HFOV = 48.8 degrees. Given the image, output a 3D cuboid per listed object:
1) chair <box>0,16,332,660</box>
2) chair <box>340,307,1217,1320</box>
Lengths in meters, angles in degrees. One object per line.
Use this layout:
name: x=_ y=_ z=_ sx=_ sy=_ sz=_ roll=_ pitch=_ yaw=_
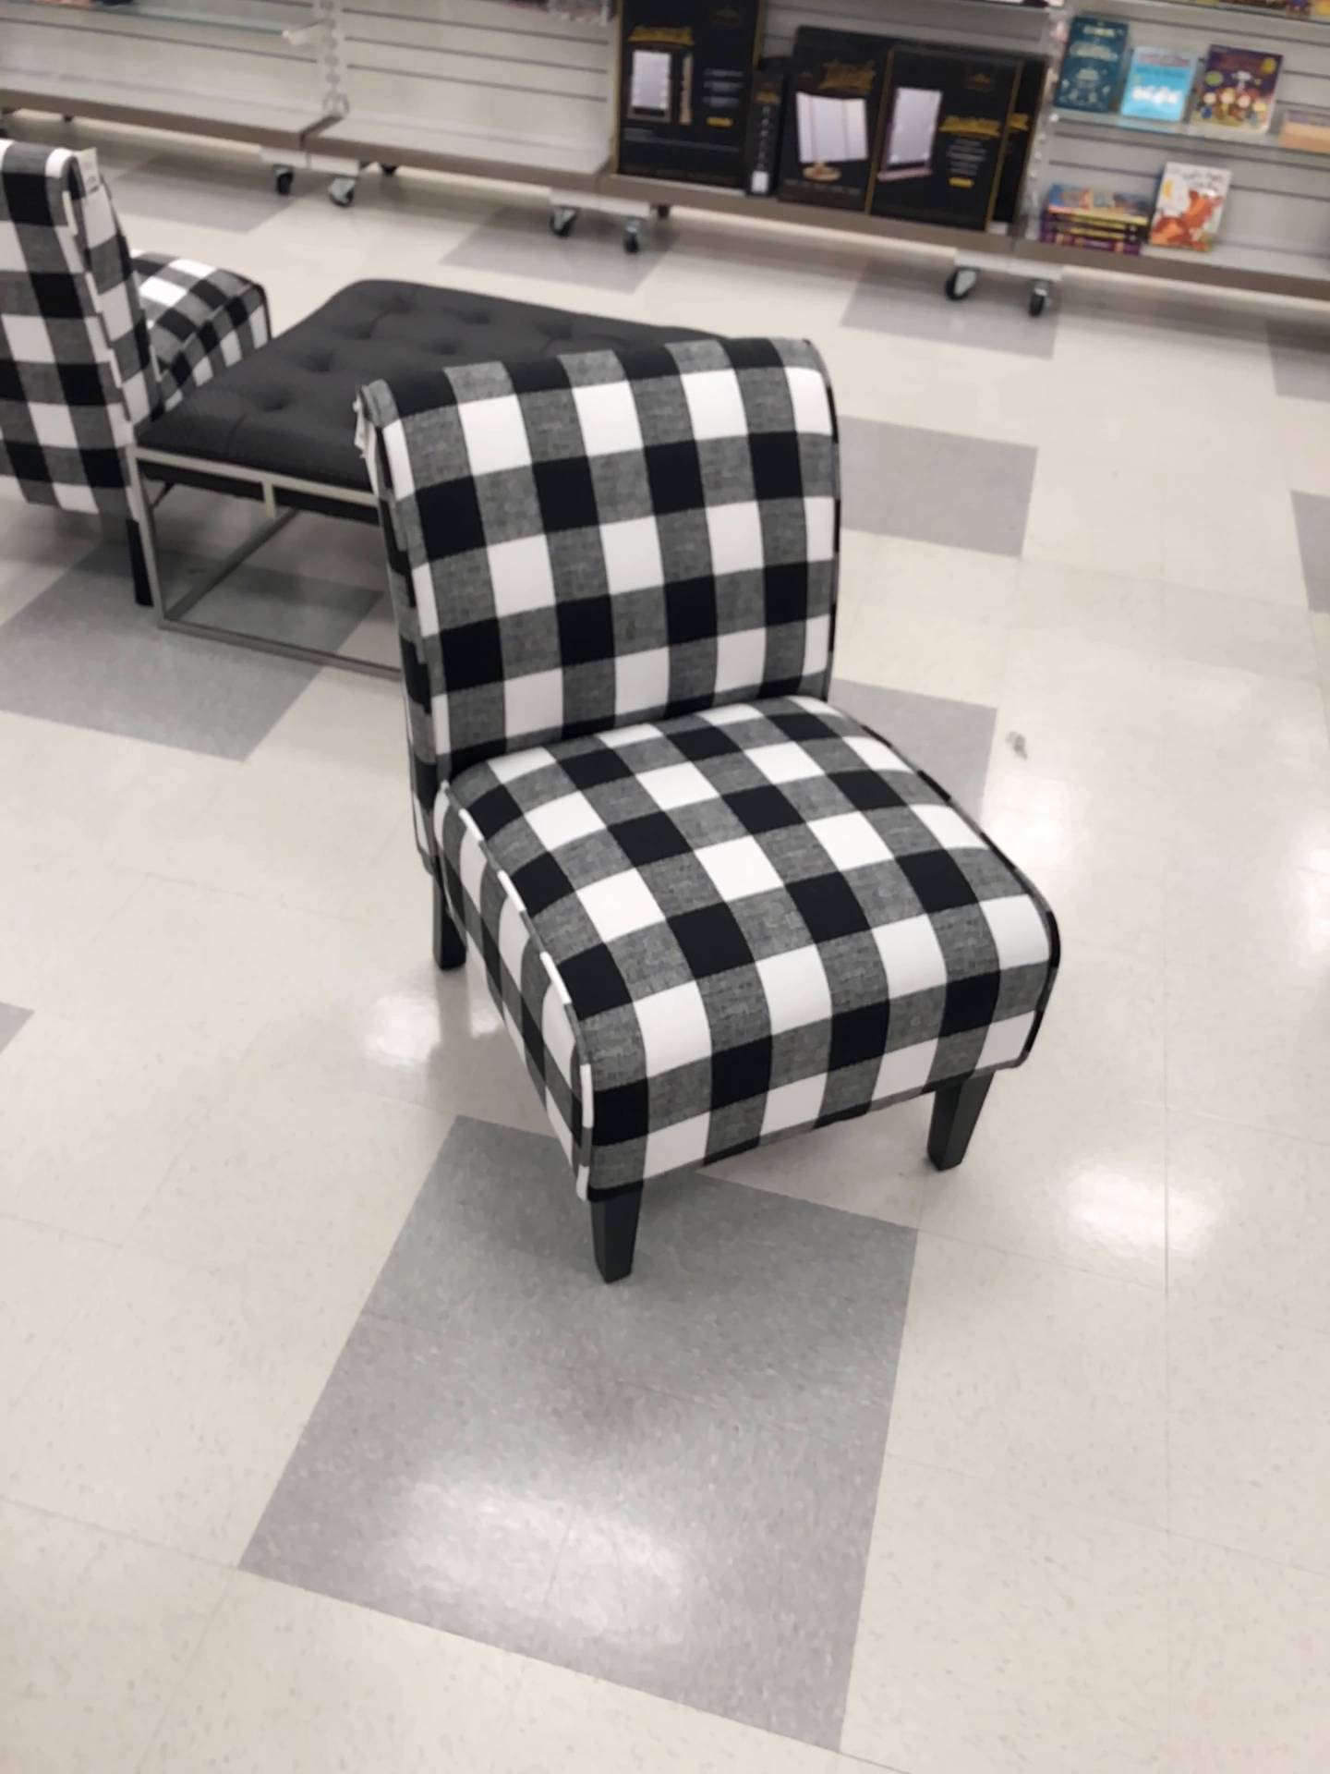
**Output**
chair: x=-1.093 y=-1.017 z=2.682 sx=0.624 sy=0.832 sz=0.733 roll=12 pitch=41 yaw=9
chair: x=0.050 y=-0.113 z=1.730 sx=0.625 sy=0.832 sz=0.702 roll=-14 pitch=44 yaw=-20
